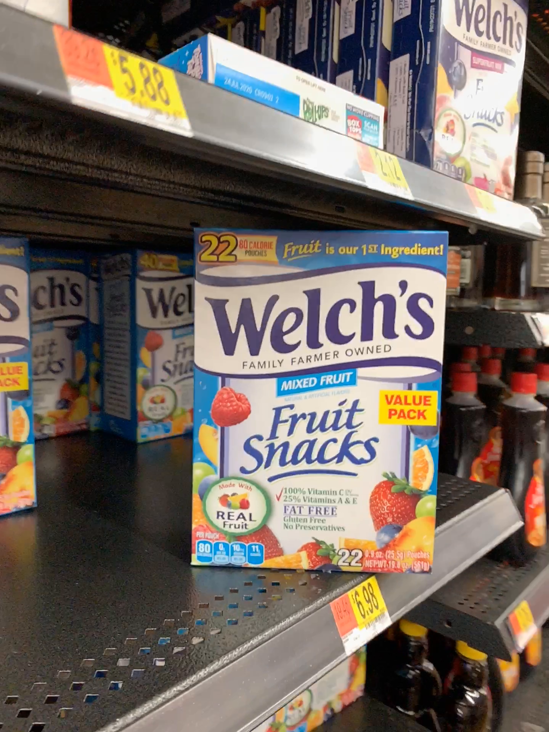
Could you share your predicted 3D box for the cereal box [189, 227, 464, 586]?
[{"bbox_3d":[0.032,0.025,0.393,0.170,0.230,0.060,1,6,2],"label":"cereal box"}]
